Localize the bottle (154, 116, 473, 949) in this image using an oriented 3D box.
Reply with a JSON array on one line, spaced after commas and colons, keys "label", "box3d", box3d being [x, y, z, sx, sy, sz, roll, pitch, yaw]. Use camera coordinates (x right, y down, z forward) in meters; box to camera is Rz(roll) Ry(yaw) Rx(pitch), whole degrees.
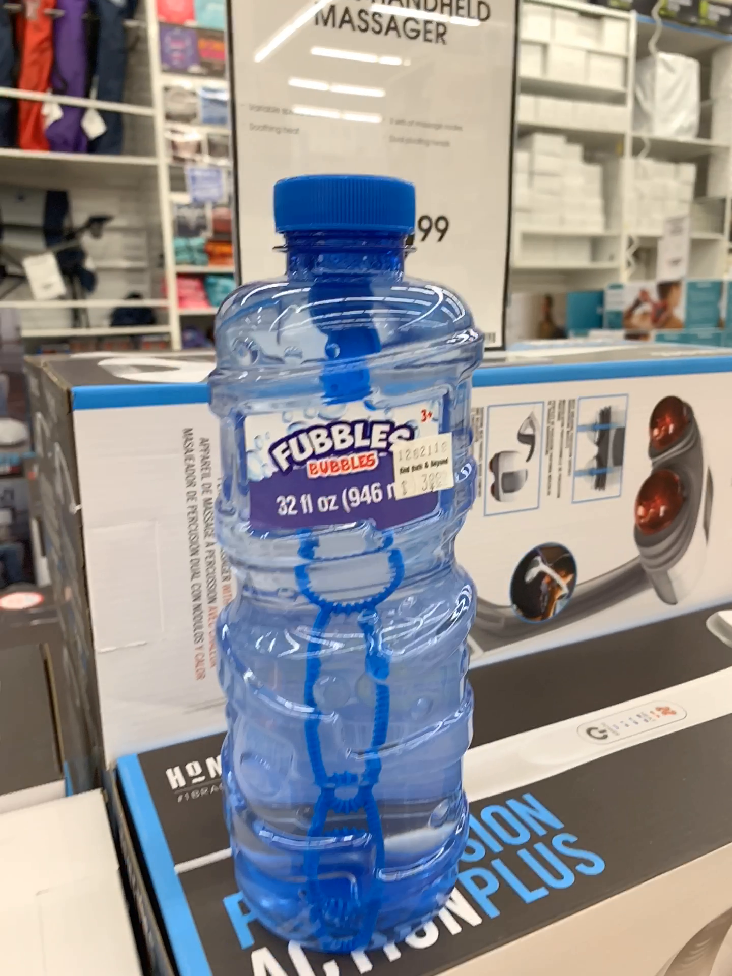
[{"label": "bottle", "box3d": [-0.009, 0.018, 0.256, 0.080, 0.243, 0.081, -1, 12, 0]}]
